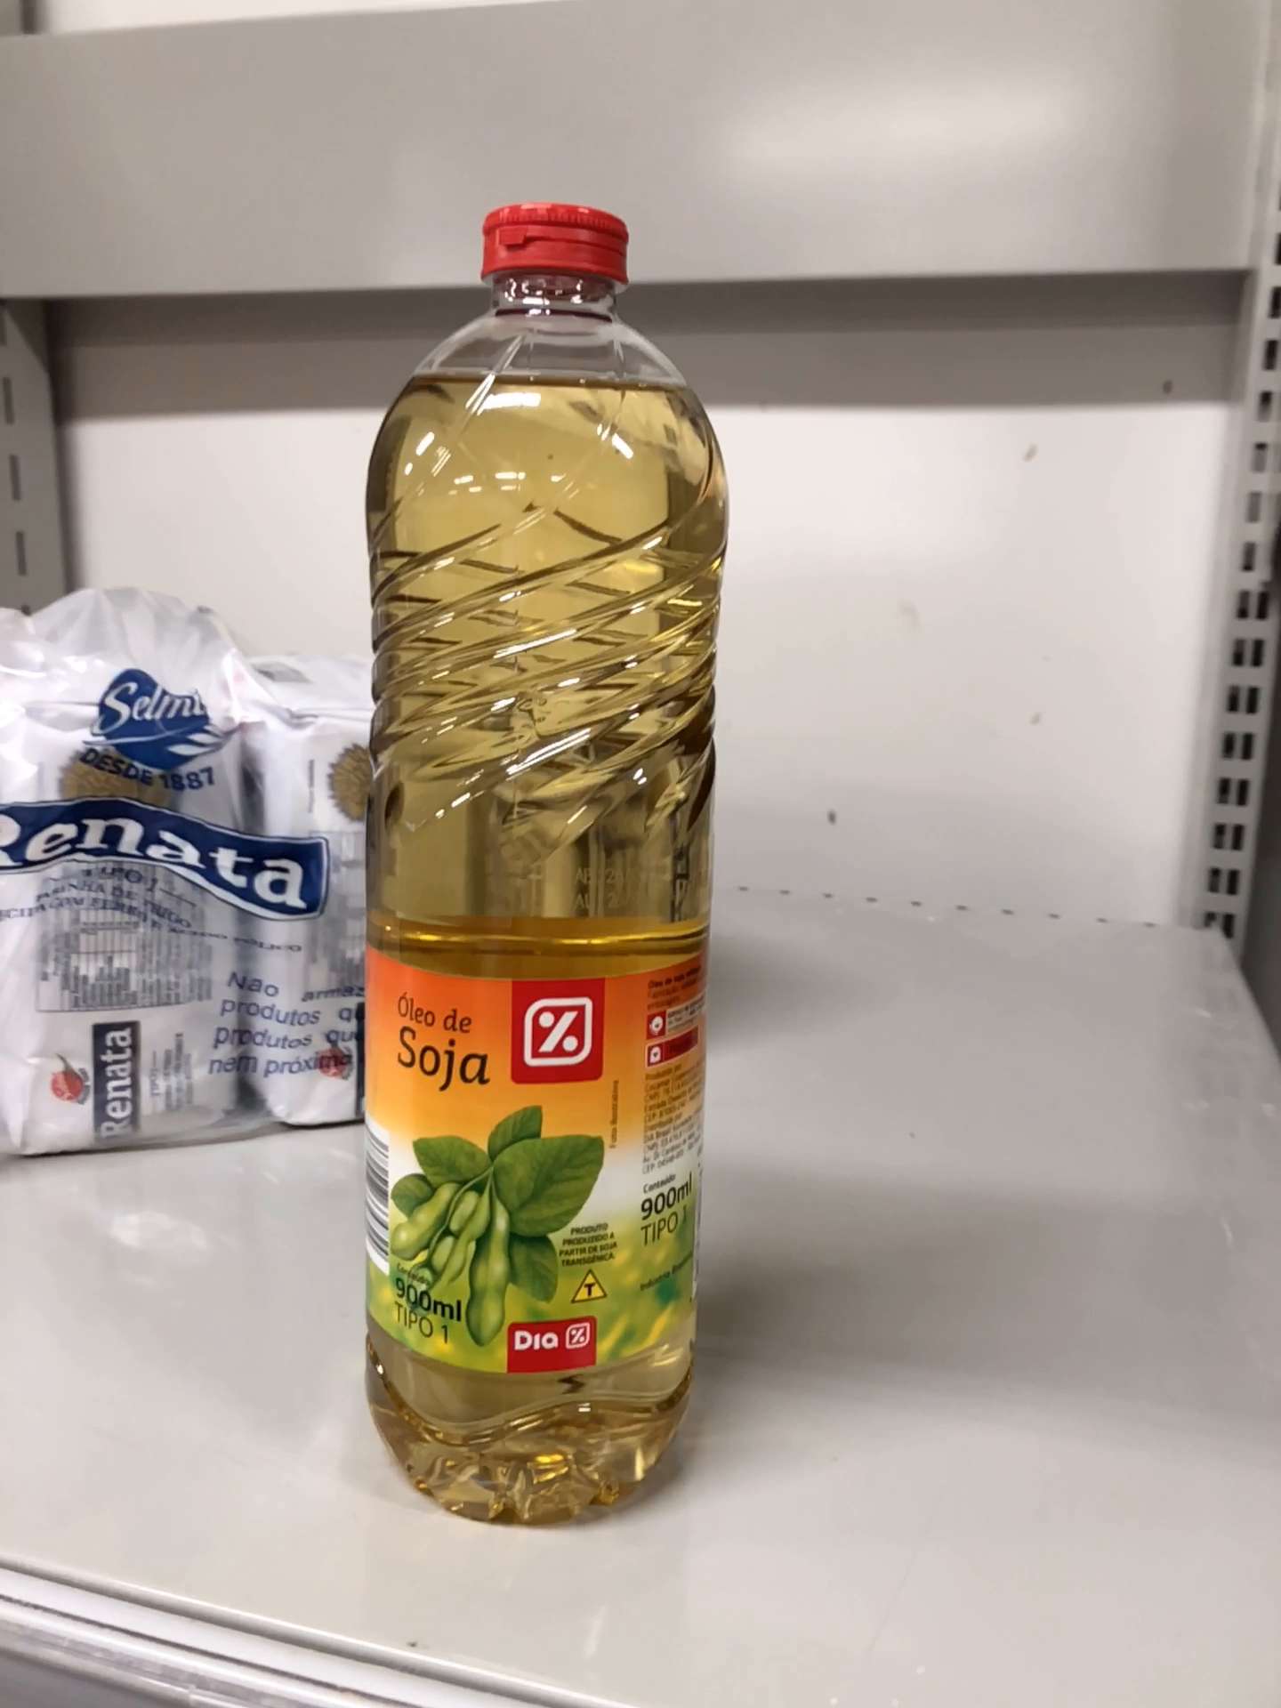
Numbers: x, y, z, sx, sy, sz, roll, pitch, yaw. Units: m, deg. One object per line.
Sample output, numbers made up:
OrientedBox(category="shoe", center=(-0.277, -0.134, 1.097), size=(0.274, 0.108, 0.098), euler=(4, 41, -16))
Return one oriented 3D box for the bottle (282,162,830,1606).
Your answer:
OrientedBox(category="bottle", center=(-0.019, 0.007, 0.295), size=(0.080, 0.259, 0.070), euler=(8, 13, 24))
